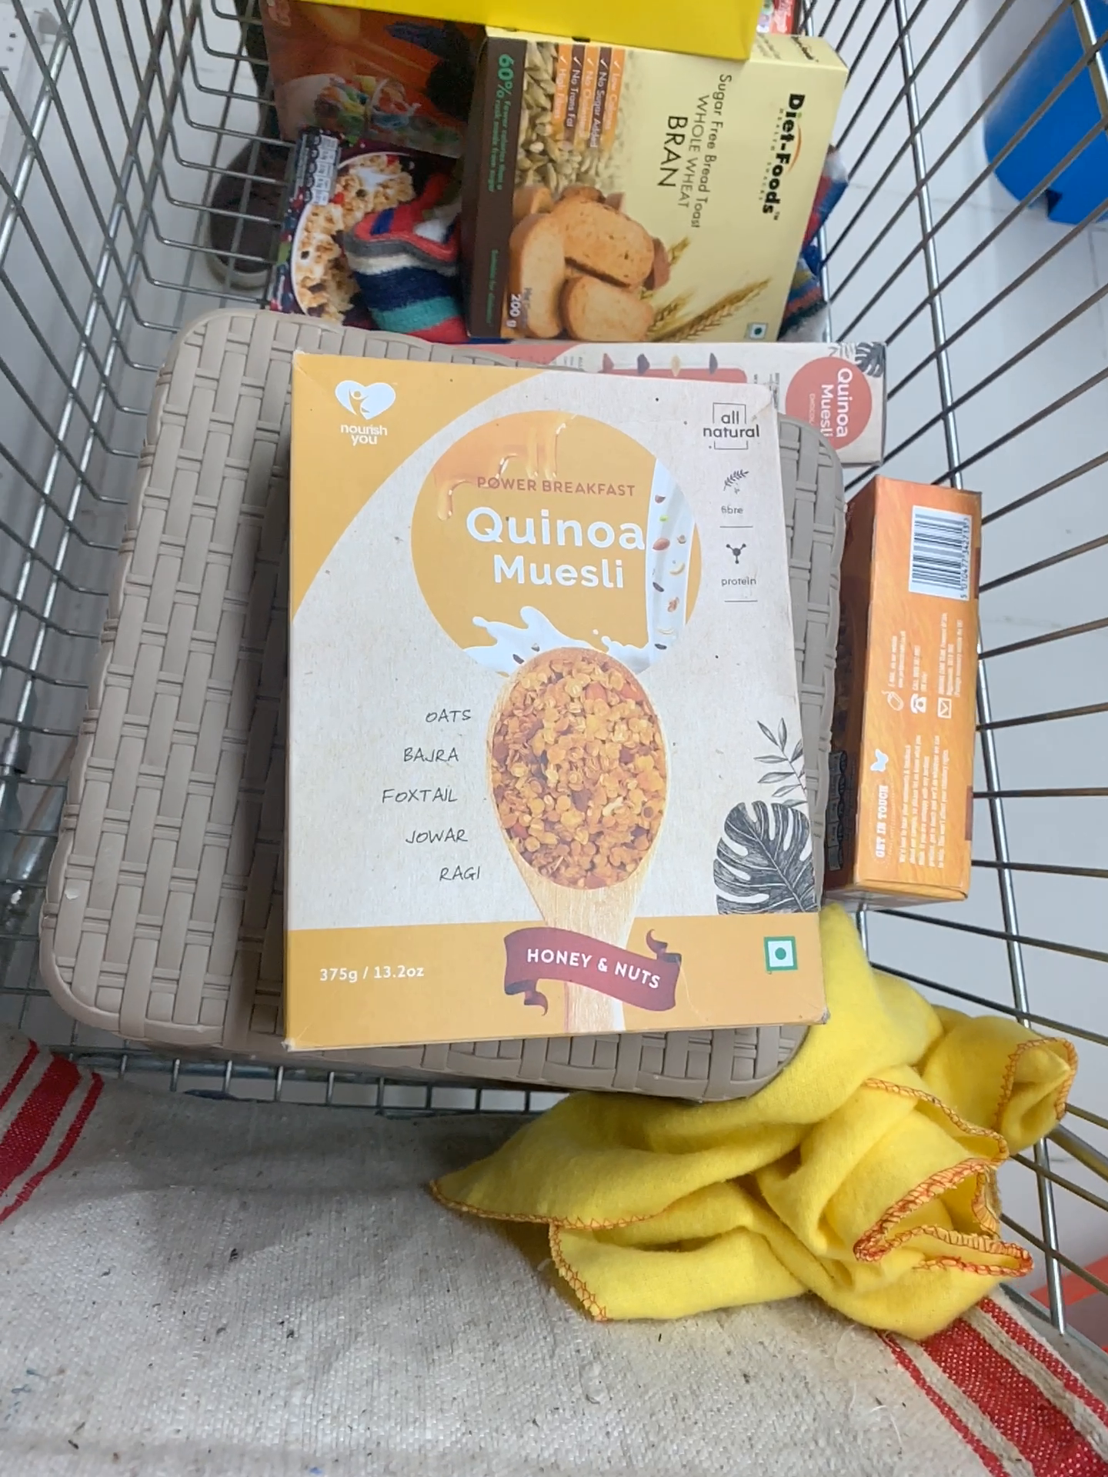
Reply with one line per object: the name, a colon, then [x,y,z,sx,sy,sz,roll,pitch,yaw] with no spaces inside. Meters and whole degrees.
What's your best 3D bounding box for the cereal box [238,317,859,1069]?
cereal box: [-0.008,-0.010,0.347,0.160,0.080,0.200,0,78,-10]
